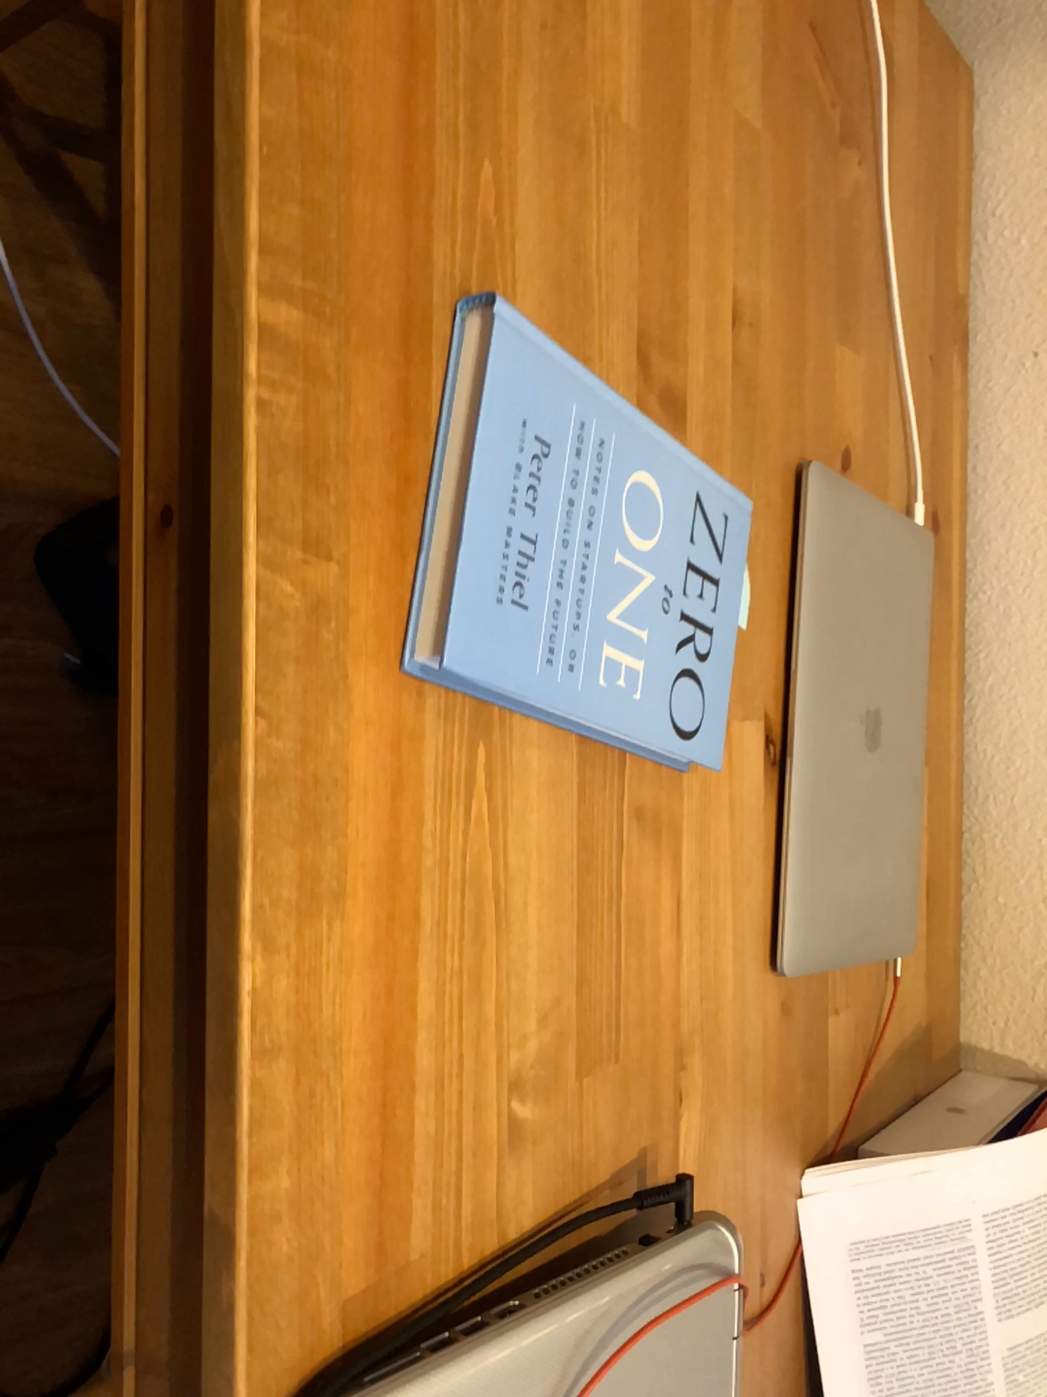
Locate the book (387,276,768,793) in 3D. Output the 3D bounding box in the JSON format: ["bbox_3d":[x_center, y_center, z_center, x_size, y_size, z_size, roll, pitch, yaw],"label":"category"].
[{"bbox_3d":[0.037,-0.052,0.486,0.211,0.030,0.150,20,74,-51],"label":"book"}]
